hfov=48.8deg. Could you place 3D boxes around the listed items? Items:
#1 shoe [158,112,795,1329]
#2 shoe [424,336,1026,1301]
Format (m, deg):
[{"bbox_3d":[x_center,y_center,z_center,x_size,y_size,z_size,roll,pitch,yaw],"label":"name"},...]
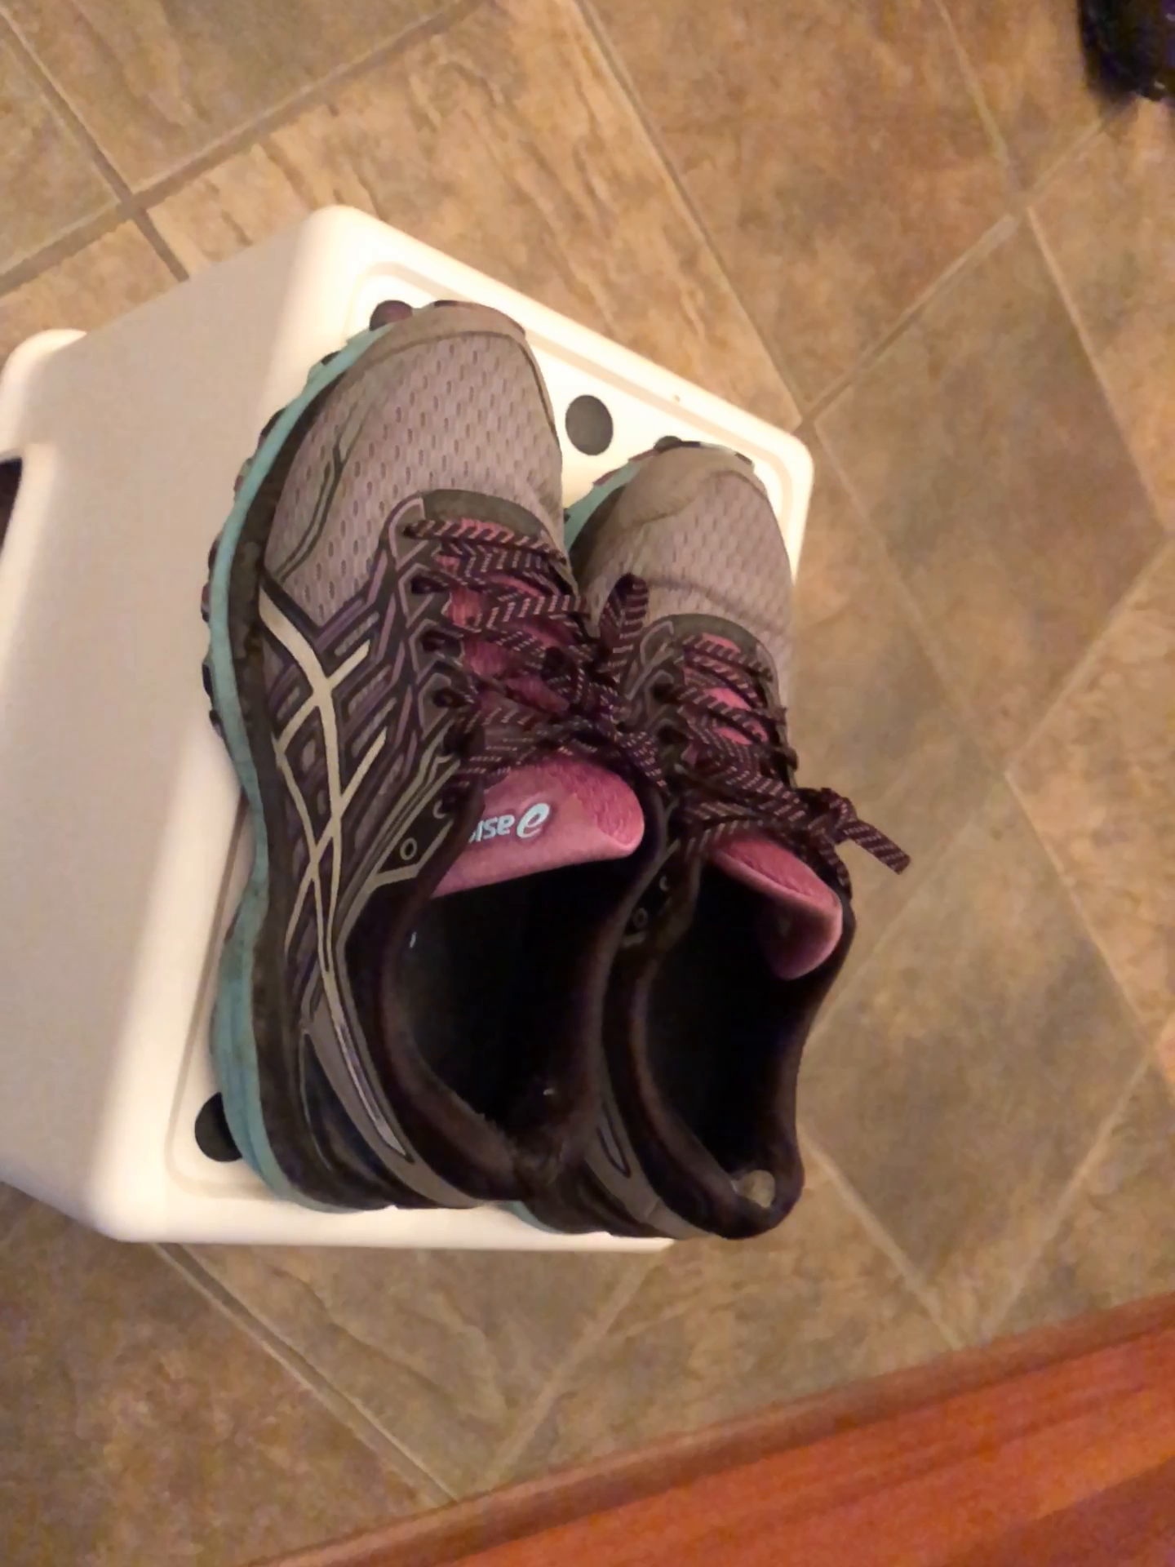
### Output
[{"bbox_3d":[-0.033,-0.012,0.356,0.110,0.120,0.260,6,86,-35],"label":"shoe"},{"bbox_3d":[0.044,0.014,0.424,0.110,0.120,0.260,13,82,-35],"label":"shoe"}]
